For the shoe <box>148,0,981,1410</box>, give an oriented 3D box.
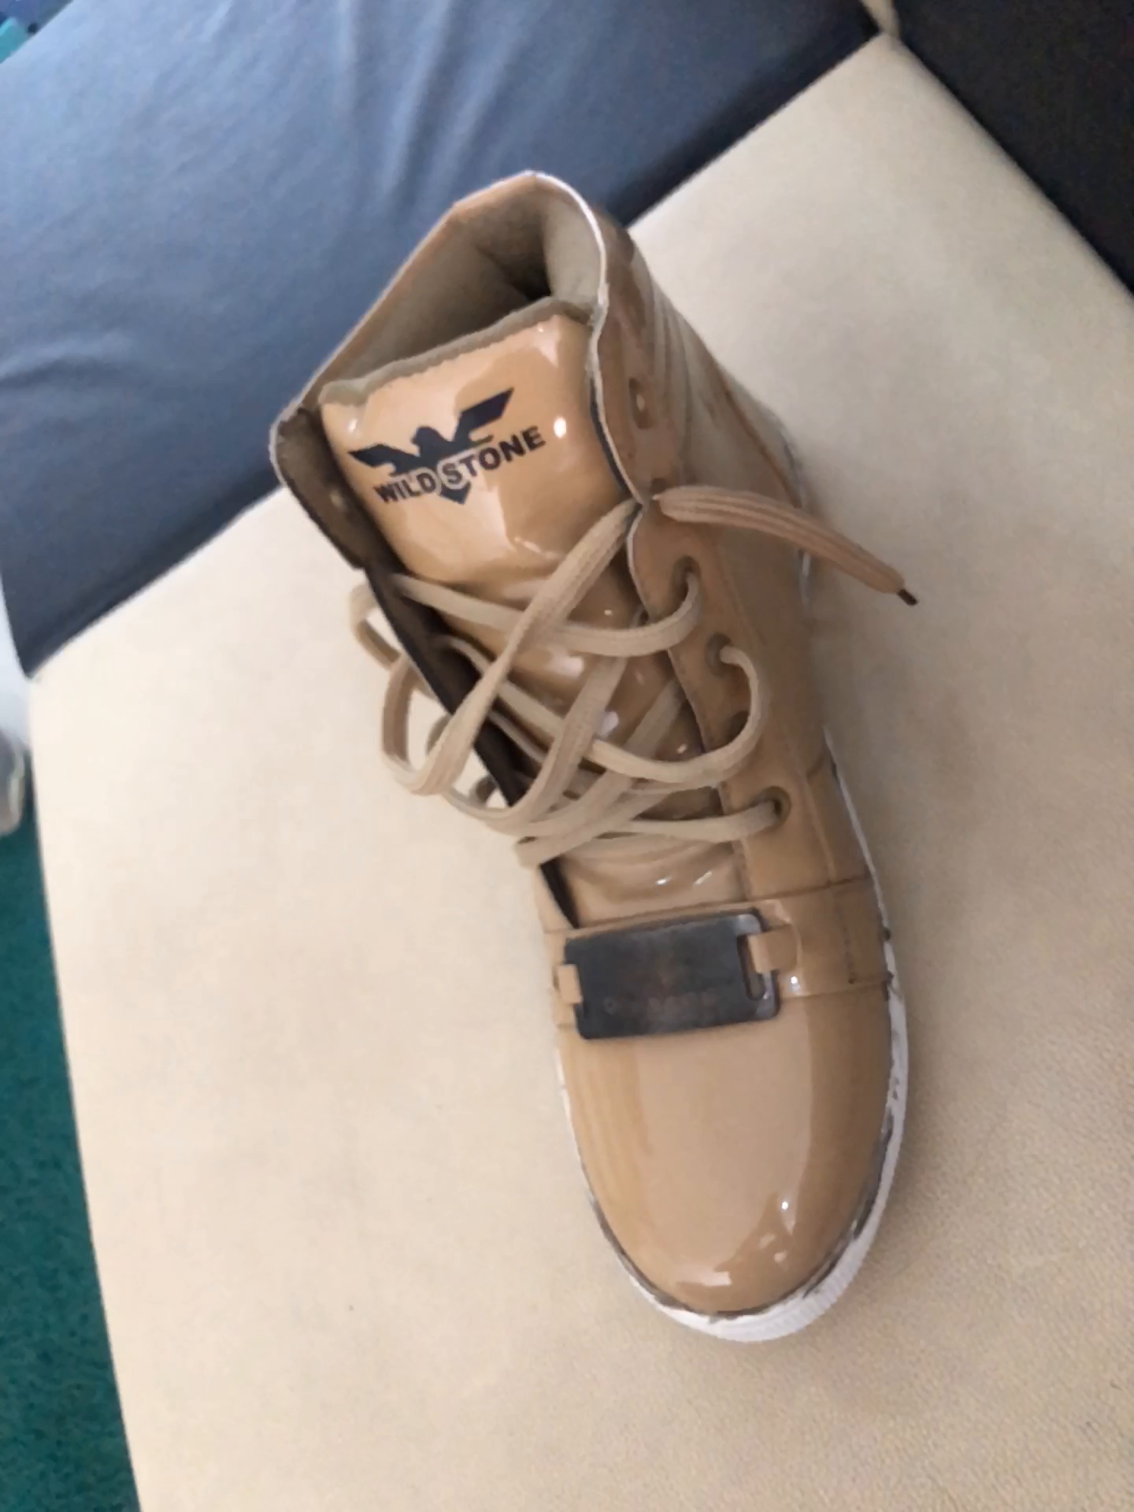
[{"bbox_3d":[0.006,-0.006,0.309,0.100,0.160,0.280,-15,64,26],"label":"shoe"}]
